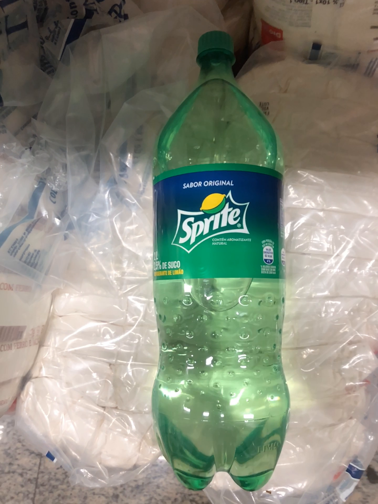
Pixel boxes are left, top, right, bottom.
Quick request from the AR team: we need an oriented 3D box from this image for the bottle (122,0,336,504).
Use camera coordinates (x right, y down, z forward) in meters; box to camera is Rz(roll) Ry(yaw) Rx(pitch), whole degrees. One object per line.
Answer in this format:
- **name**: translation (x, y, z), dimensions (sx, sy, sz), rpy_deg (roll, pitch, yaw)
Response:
- **bottle**: translation (0.024, -0.034, 0.318), dimensions (0.110, 0.110, 0.381), rpy_deg (-1, 75, 5)
